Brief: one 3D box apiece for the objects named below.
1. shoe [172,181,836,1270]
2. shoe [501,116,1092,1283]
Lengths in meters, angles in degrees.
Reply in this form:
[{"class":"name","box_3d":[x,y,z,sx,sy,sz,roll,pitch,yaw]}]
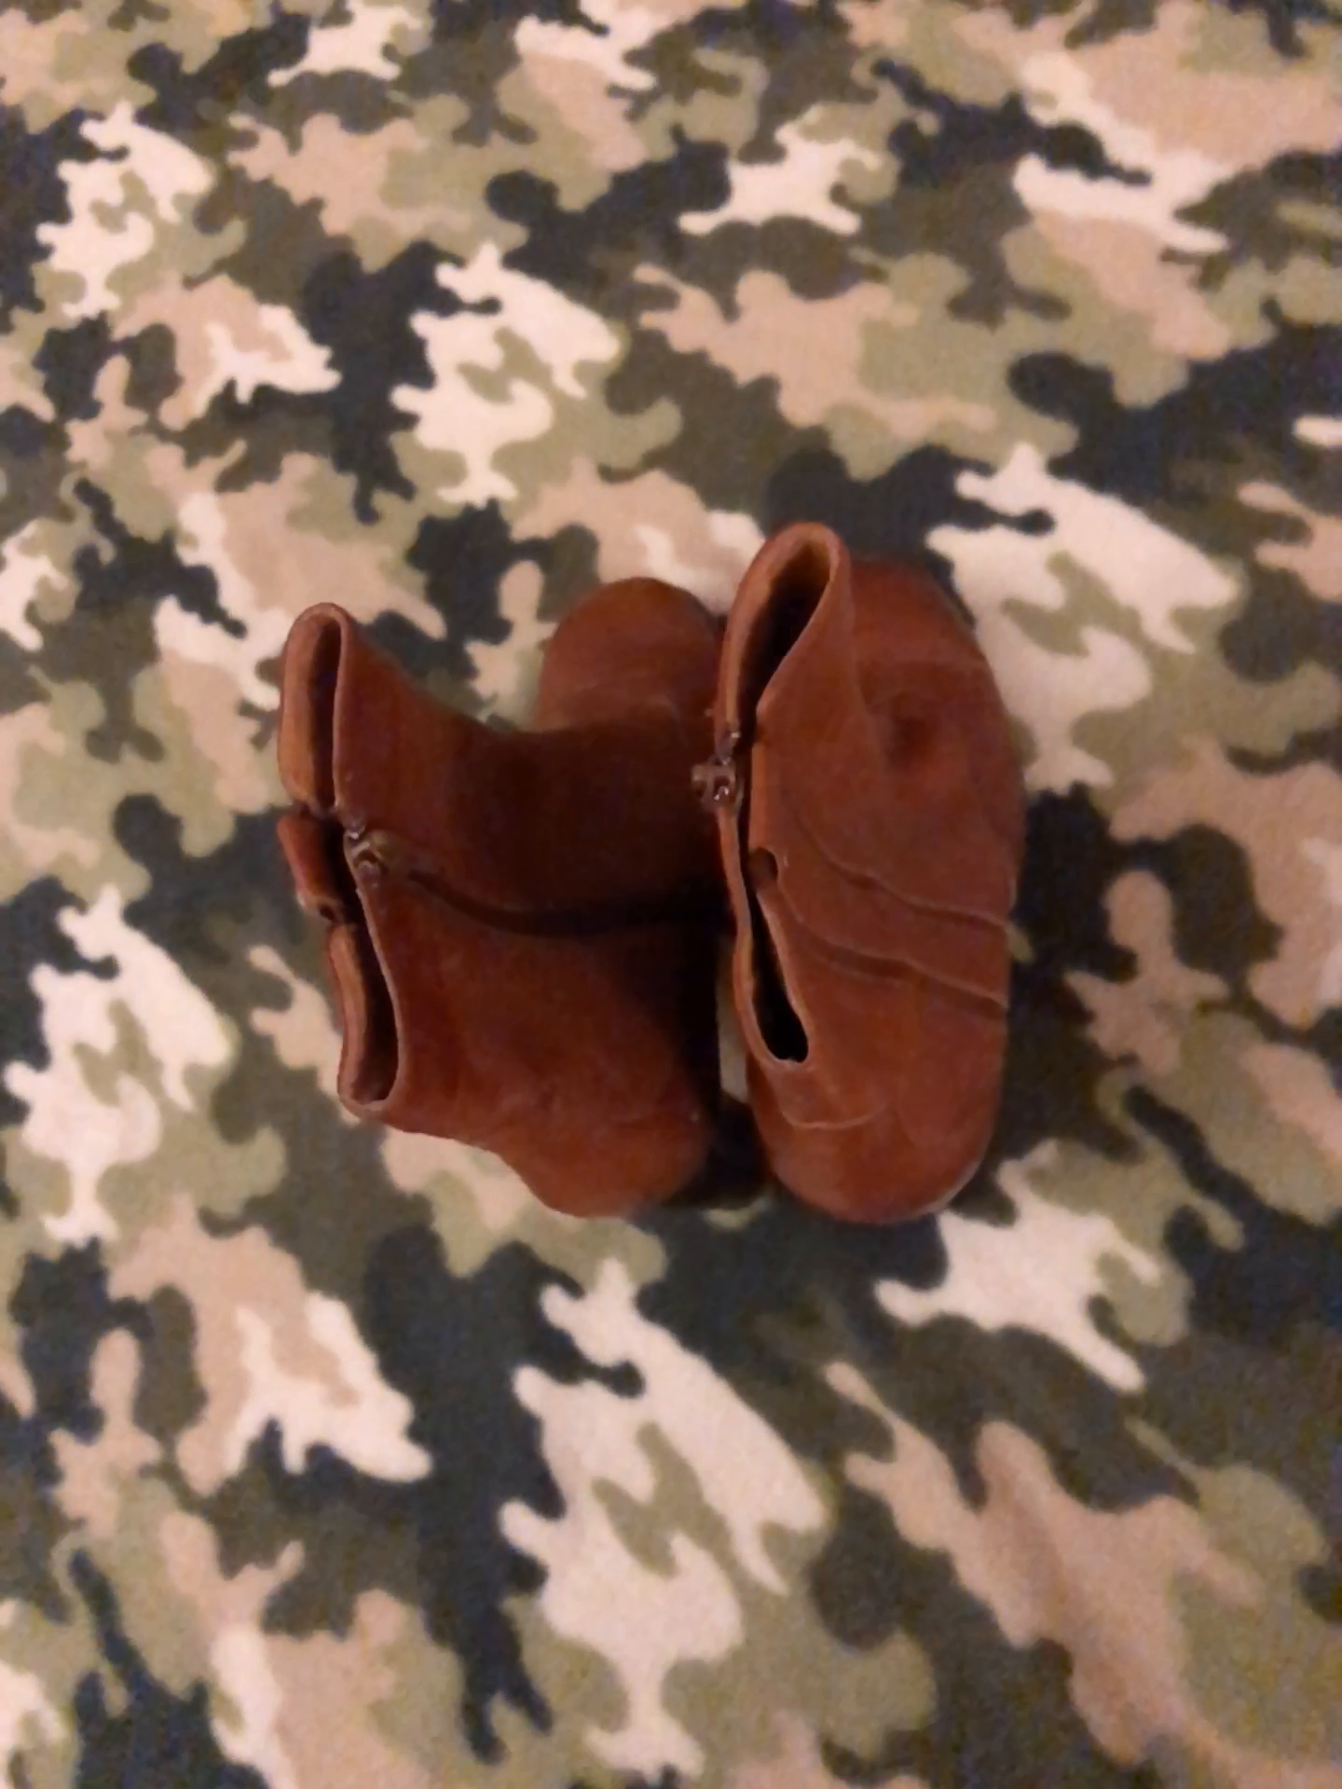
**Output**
[{"class":"shoe","box_3d":[-0.032,-0.026,0.403,0.090,0.189,0.220,-10,67,16]},{"class":"shoe","box_3d":[0.041,-0.027,0.376,0.090,0.189,0.220,-8,68,17]}]
